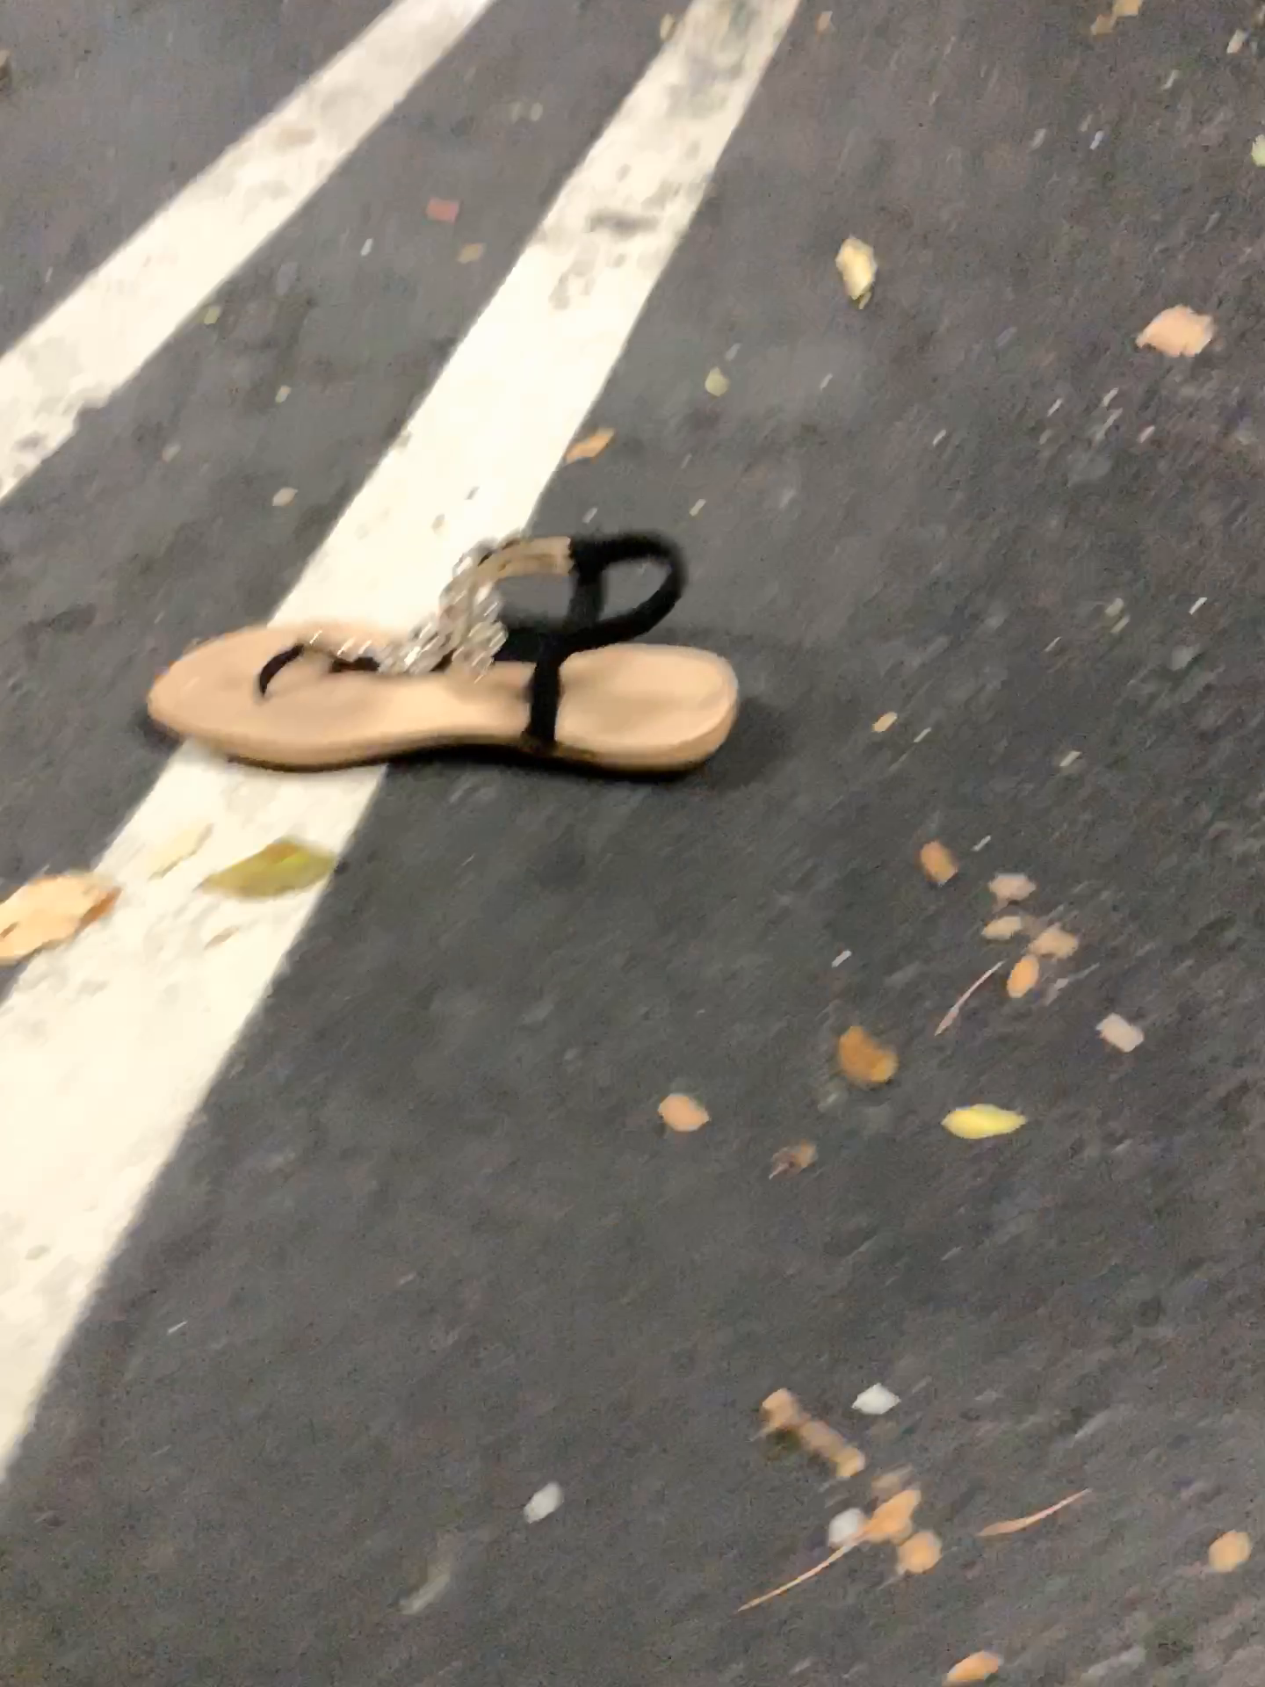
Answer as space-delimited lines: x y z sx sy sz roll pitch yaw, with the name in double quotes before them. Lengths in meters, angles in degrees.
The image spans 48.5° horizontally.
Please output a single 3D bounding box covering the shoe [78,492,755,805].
"shoe" -0.082 -0.087 0.603 0.260 0.060 0.120 3 49 7
